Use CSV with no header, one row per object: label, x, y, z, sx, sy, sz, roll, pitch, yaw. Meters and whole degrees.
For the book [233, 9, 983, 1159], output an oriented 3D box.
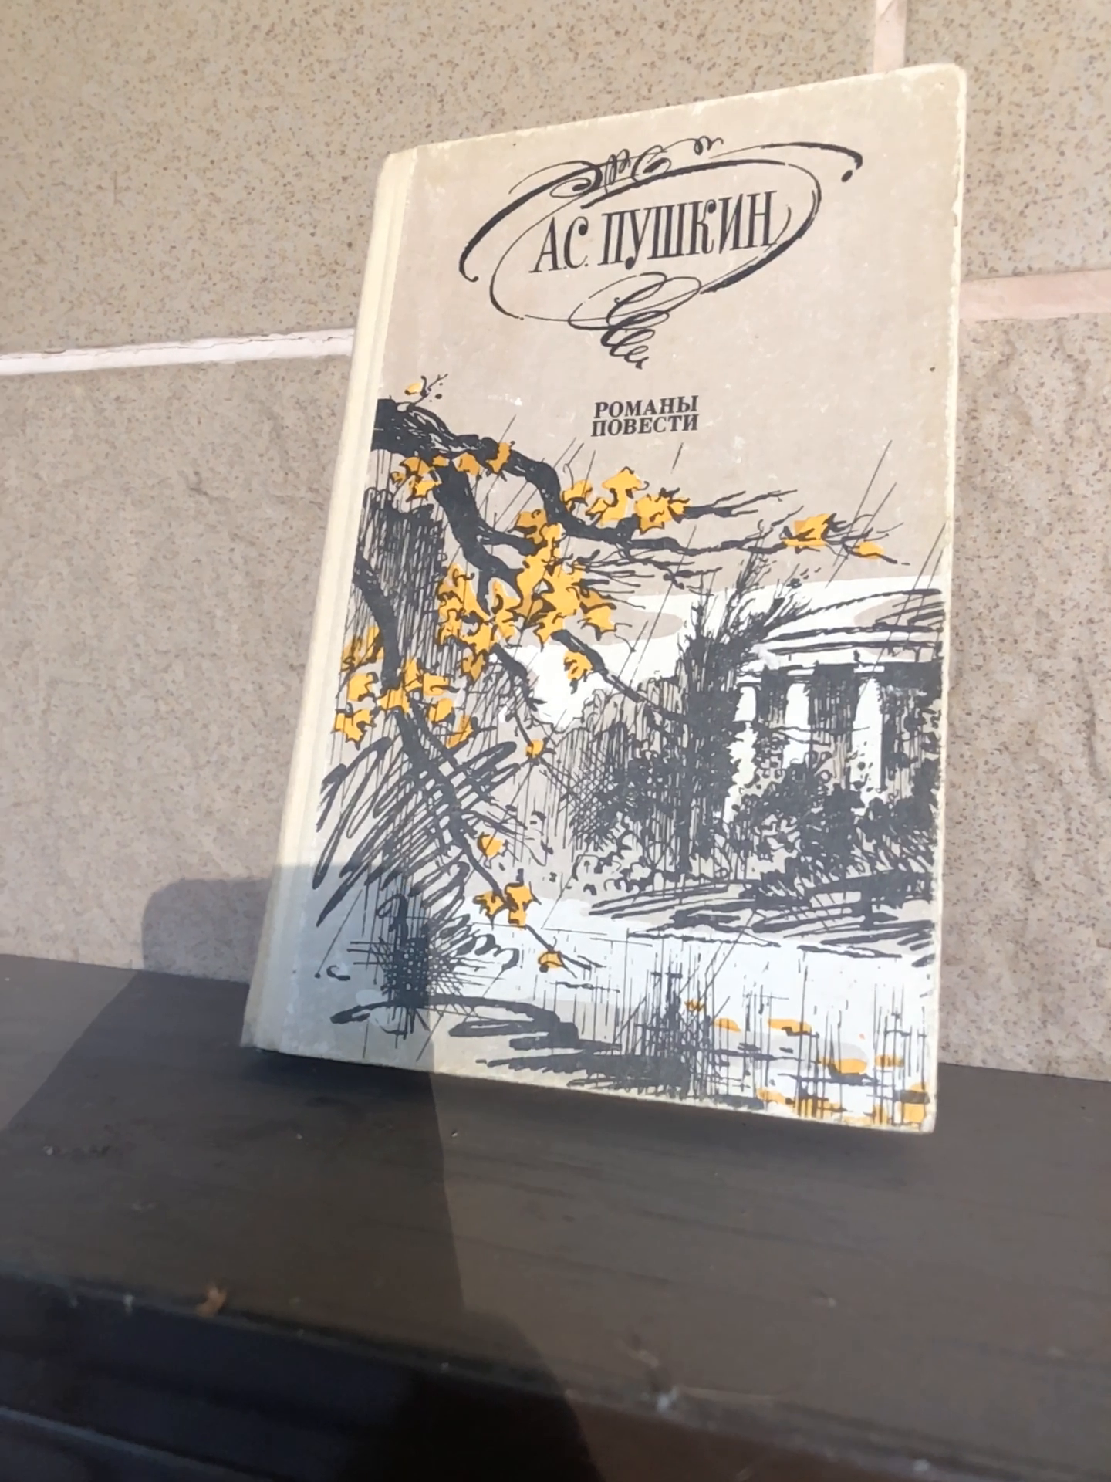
book,0.011,-0.034,0.238,0.130,0.199,0.020,1,-9,21
